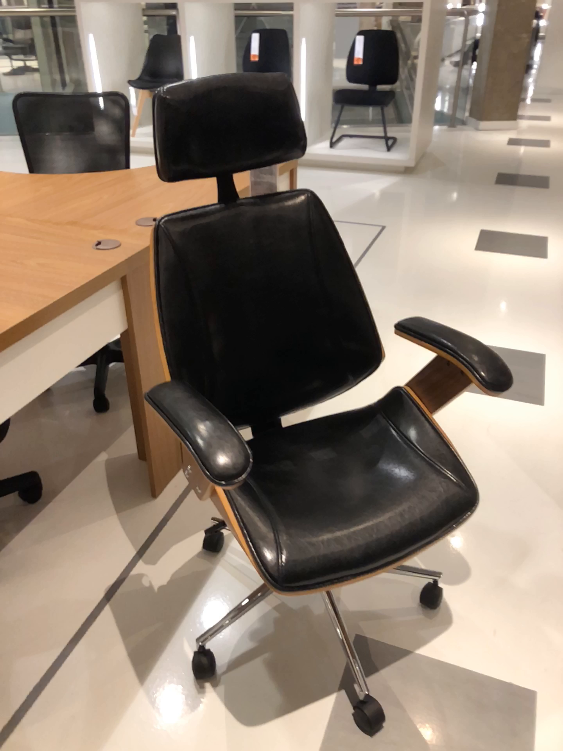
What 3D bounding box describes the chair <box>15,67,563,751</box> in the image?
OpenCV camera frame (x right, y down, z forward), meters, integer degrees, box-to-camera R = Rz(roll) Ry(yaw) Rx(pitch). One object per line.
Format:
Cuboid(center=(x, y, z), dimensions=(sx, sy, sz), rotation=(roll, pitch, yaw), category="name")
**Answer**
Cuboid(center=(0.047, 0.048, 1.238), dimensions=(0.722, 1.102, 0.764), rotation=(-18, 35, -26), category="chair")
